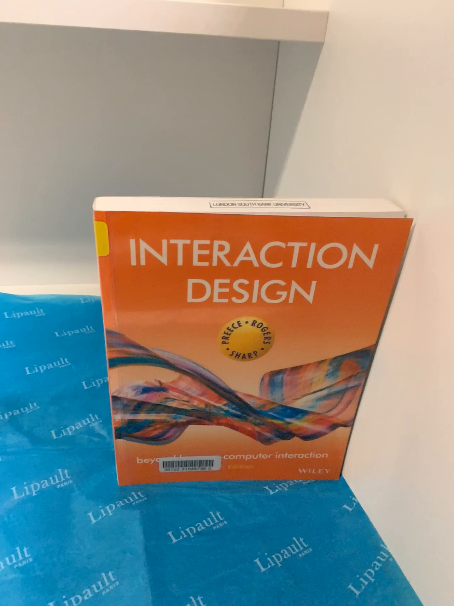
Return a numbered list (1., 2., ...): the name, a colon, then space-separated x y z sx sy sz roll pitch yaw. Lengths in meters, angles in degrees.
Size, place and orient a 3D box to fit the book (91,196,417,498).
1. book: 0.011 0.045 0.350 0.194 0.247 0.030 -2 33 -10
